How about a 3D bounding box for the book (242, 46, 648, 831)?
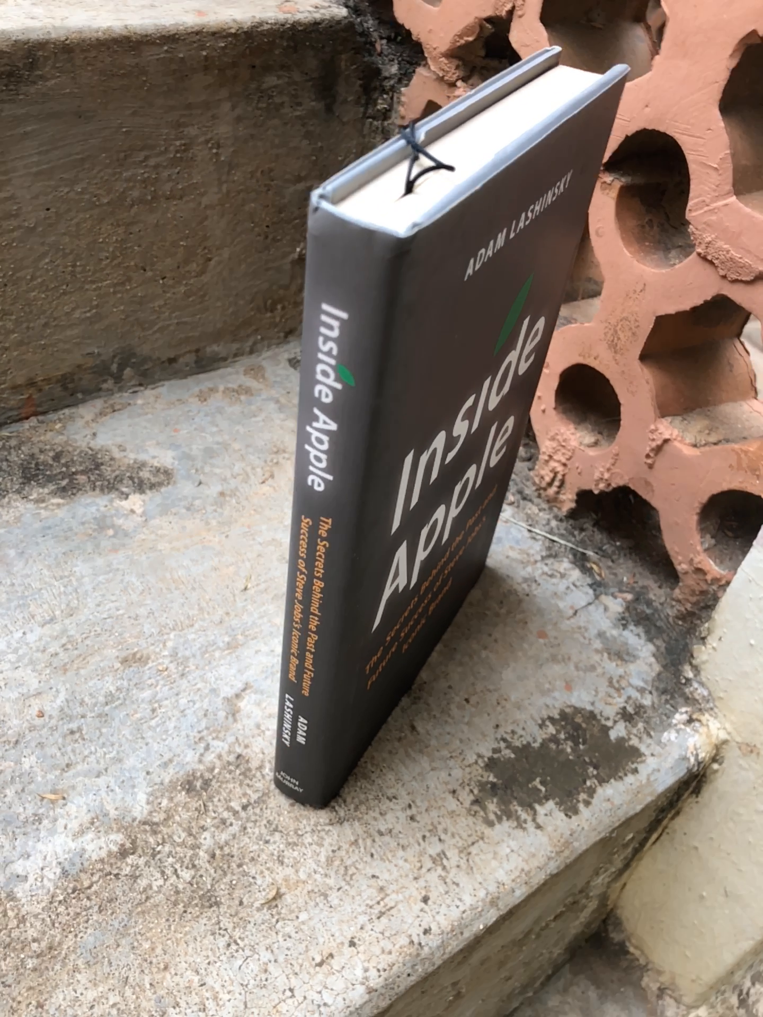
[{"bbox_3d":[0.018,-0.021,0.296,0.040,0.219,0.171,23,44,17],"label":"book"}]
